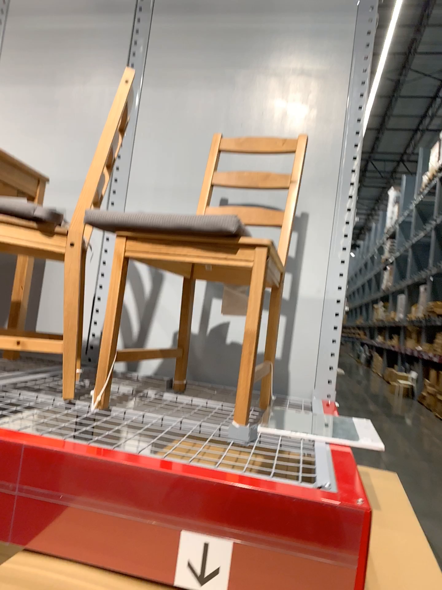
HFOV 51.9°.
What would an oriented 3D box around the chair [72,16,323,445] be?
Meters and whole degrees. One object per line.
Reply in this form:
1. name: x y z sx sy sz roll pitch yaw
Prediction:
1. chair: -0.007 -0.152 1.245 0.440 0.911 0.500 7 -3 15
